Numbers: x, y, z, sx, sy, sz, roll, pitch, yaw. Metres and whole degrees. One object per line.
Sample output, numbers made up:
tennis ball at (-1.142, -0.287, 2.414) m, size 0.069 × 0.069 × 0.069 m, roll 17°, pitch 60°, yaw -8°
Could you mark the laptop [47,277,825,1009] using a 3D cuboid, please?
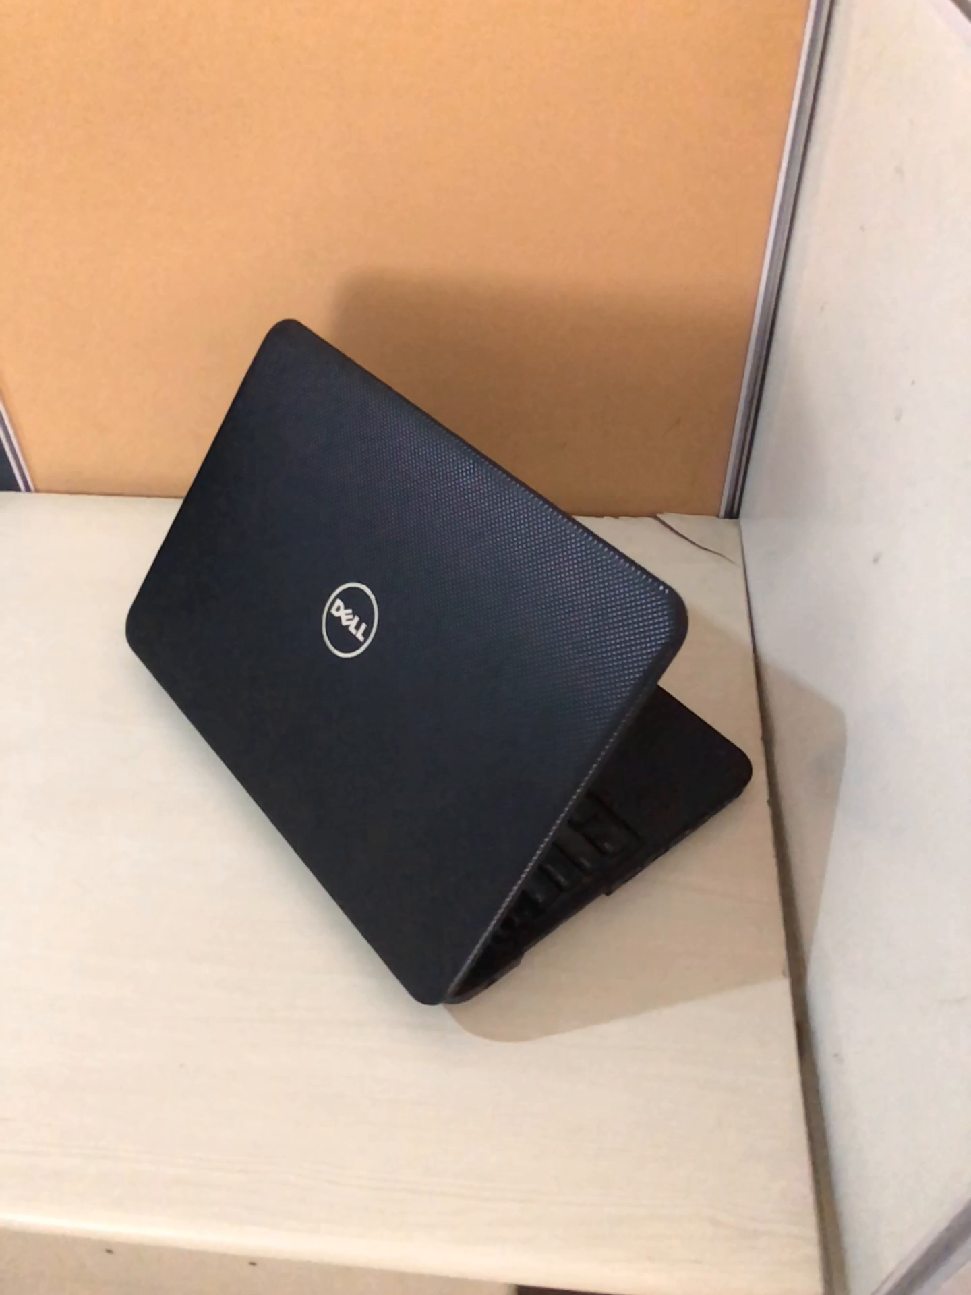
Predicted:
laptop at (-0.037, -0.033, 0.635) m, size 0.255 × 0.179 × 0.353 m, roll -29°, pitch 53°, yaw -27°
